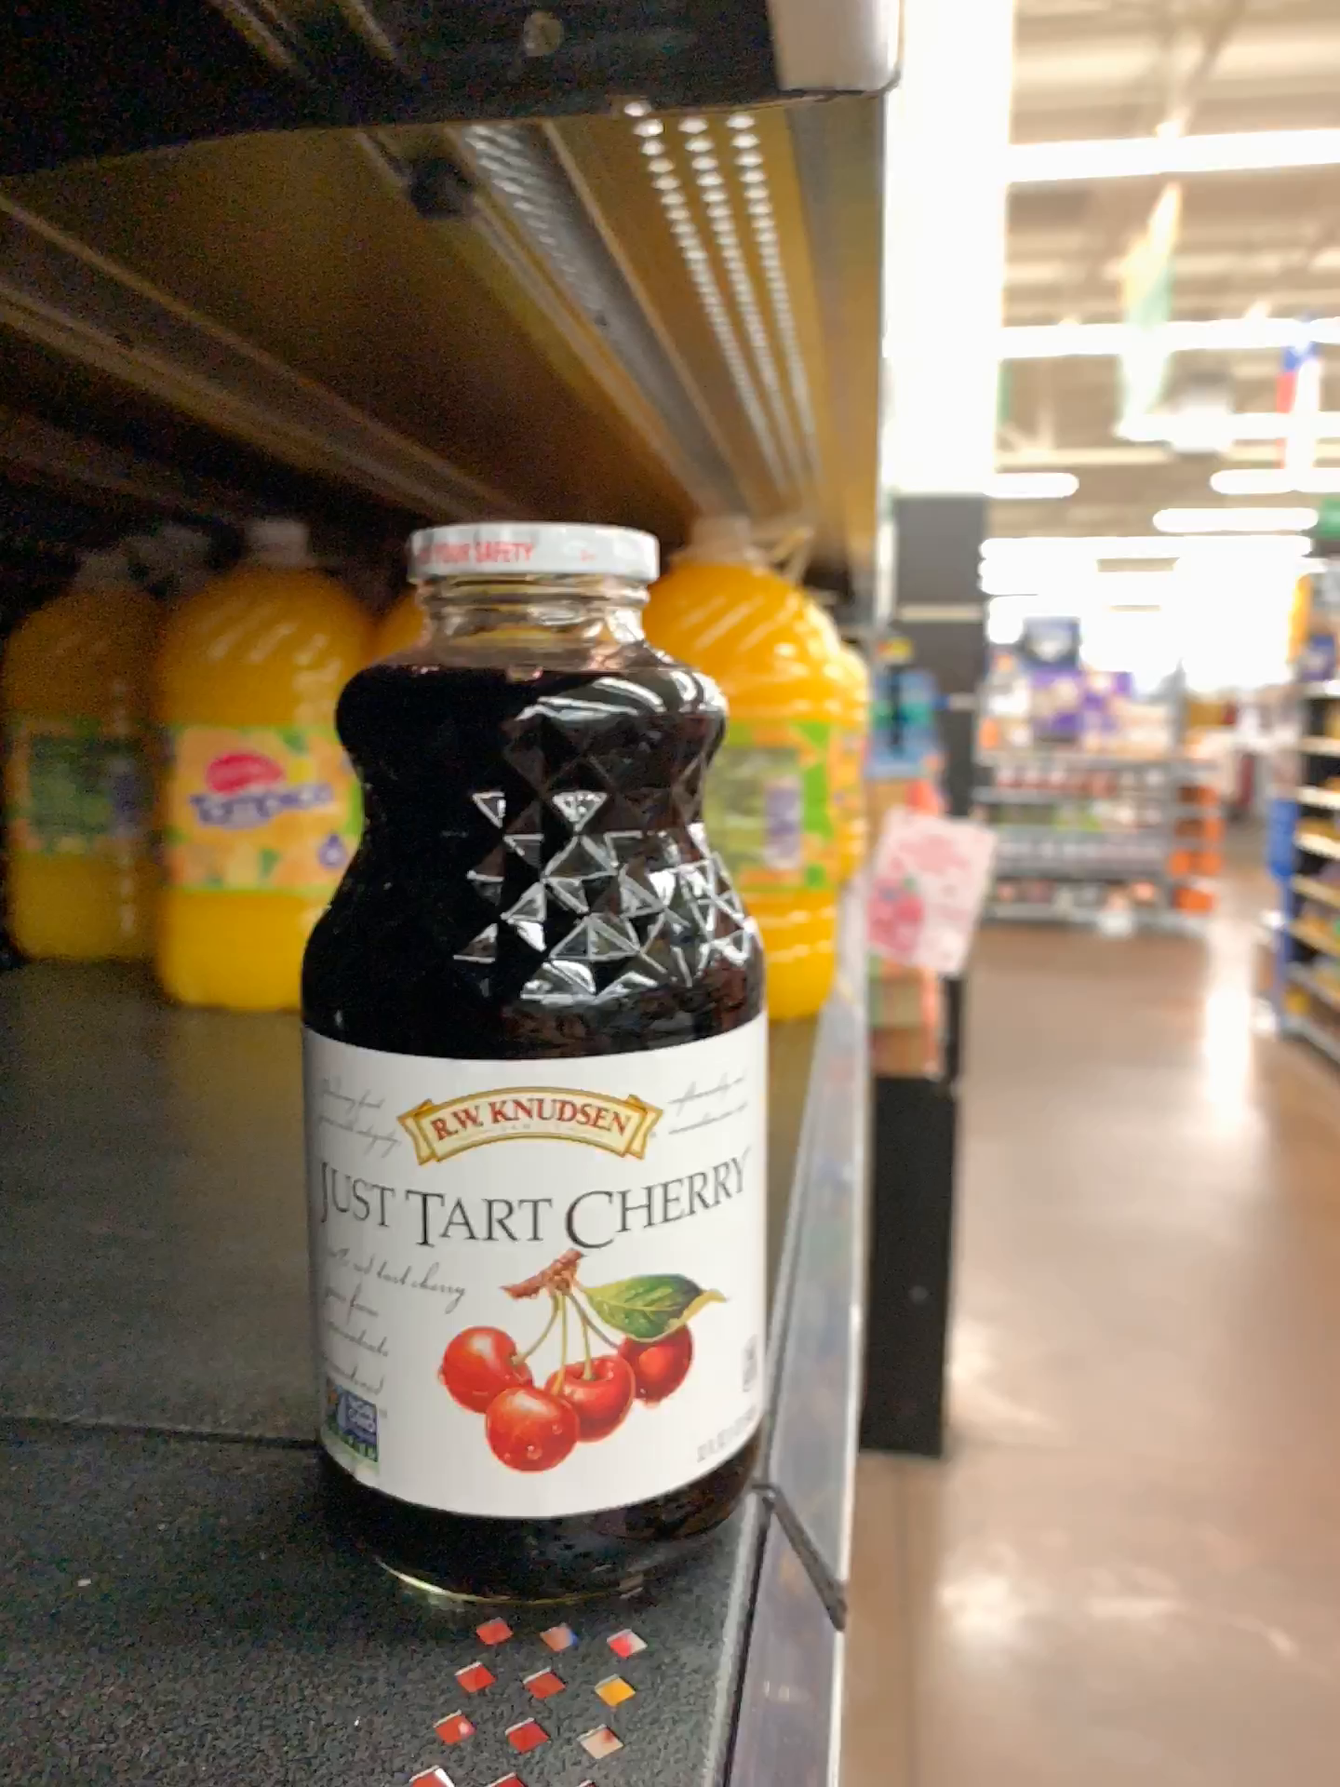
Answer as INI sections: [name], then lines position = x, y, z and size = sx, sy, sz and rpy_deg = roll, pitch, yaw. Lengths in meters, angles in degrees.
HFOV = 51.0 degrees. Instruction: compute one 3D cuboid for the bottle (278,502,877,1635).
[bottle]
position = -0.021, 0.028, 0.301
size = 0.100, 0.200, 0.110
rpy_deg = 0, 7, -6
